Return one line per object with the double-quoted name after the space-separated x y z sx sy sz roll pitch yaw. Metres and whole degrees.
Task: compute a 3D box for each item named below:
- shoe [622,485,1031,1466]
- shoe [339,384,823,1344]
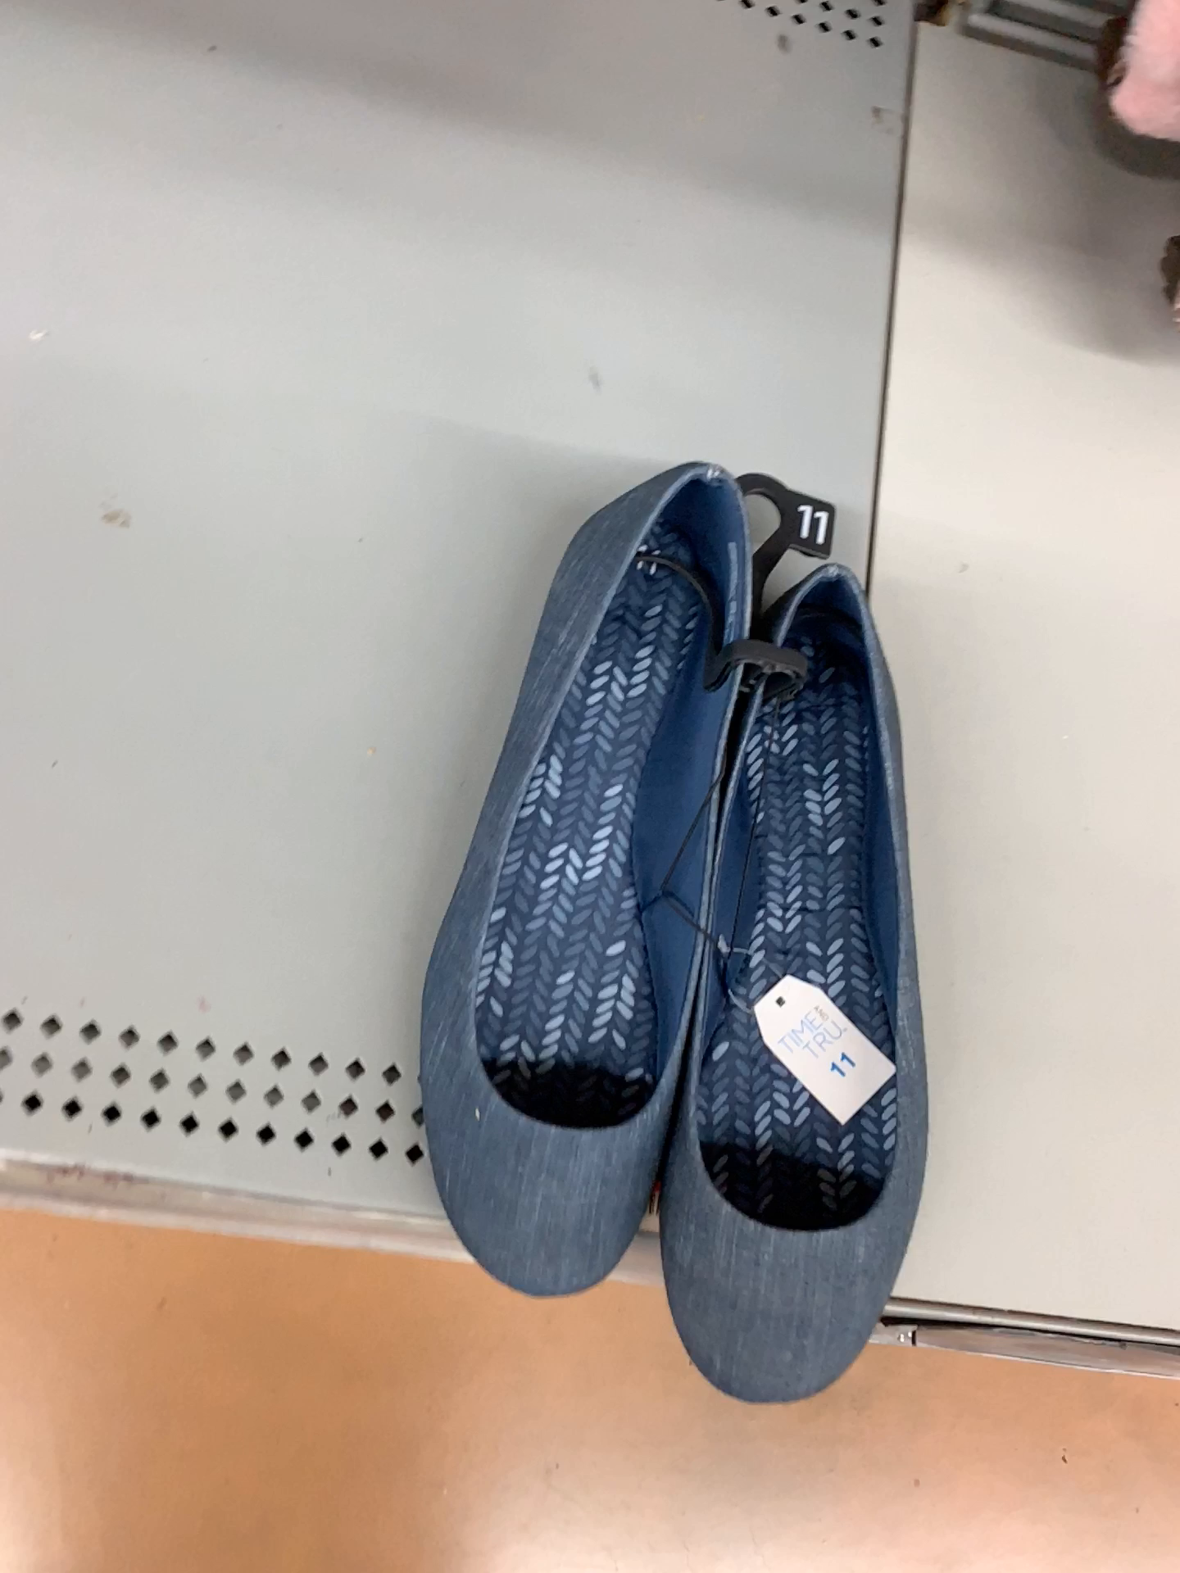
0.078 0.054 0.402 0.090 0.090 0.280 9 76 -2 "shoe"
0.000 0.021 0.406 0.090 0.090 0.280 13 75 -4 "shoe"
